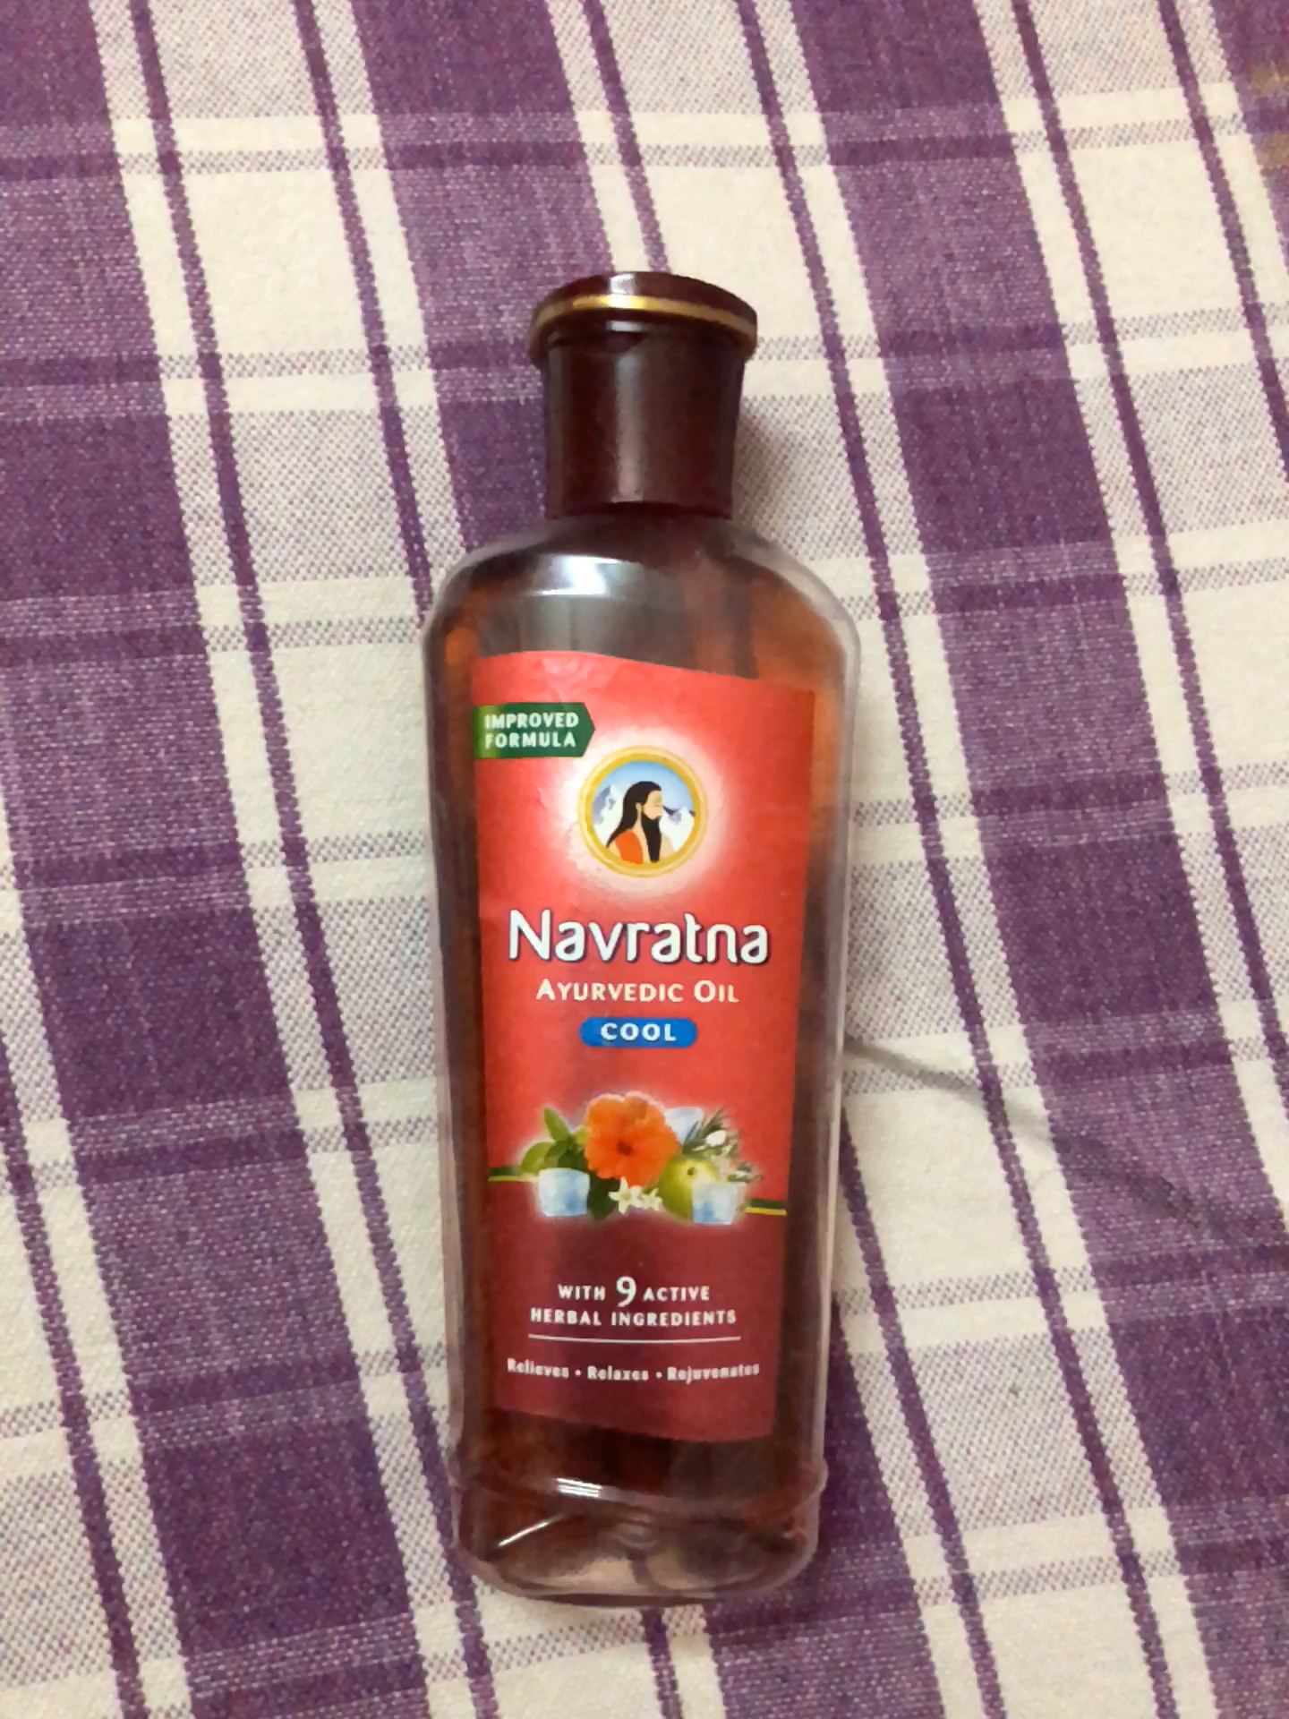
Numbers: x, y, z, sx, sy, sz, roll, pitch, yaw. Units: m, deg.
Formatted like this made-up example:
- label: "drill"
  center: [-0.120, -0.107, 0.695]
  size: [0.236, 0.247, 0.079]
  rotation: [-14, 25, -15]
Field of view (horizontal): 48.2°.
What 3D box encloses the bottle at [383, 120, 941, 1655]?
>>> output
- label: "bottle"
  center: [0.002, 0.002, 0.215]
  size: [0.070, 0.050, 0.200]
  rotation: [1, 85, -4]
